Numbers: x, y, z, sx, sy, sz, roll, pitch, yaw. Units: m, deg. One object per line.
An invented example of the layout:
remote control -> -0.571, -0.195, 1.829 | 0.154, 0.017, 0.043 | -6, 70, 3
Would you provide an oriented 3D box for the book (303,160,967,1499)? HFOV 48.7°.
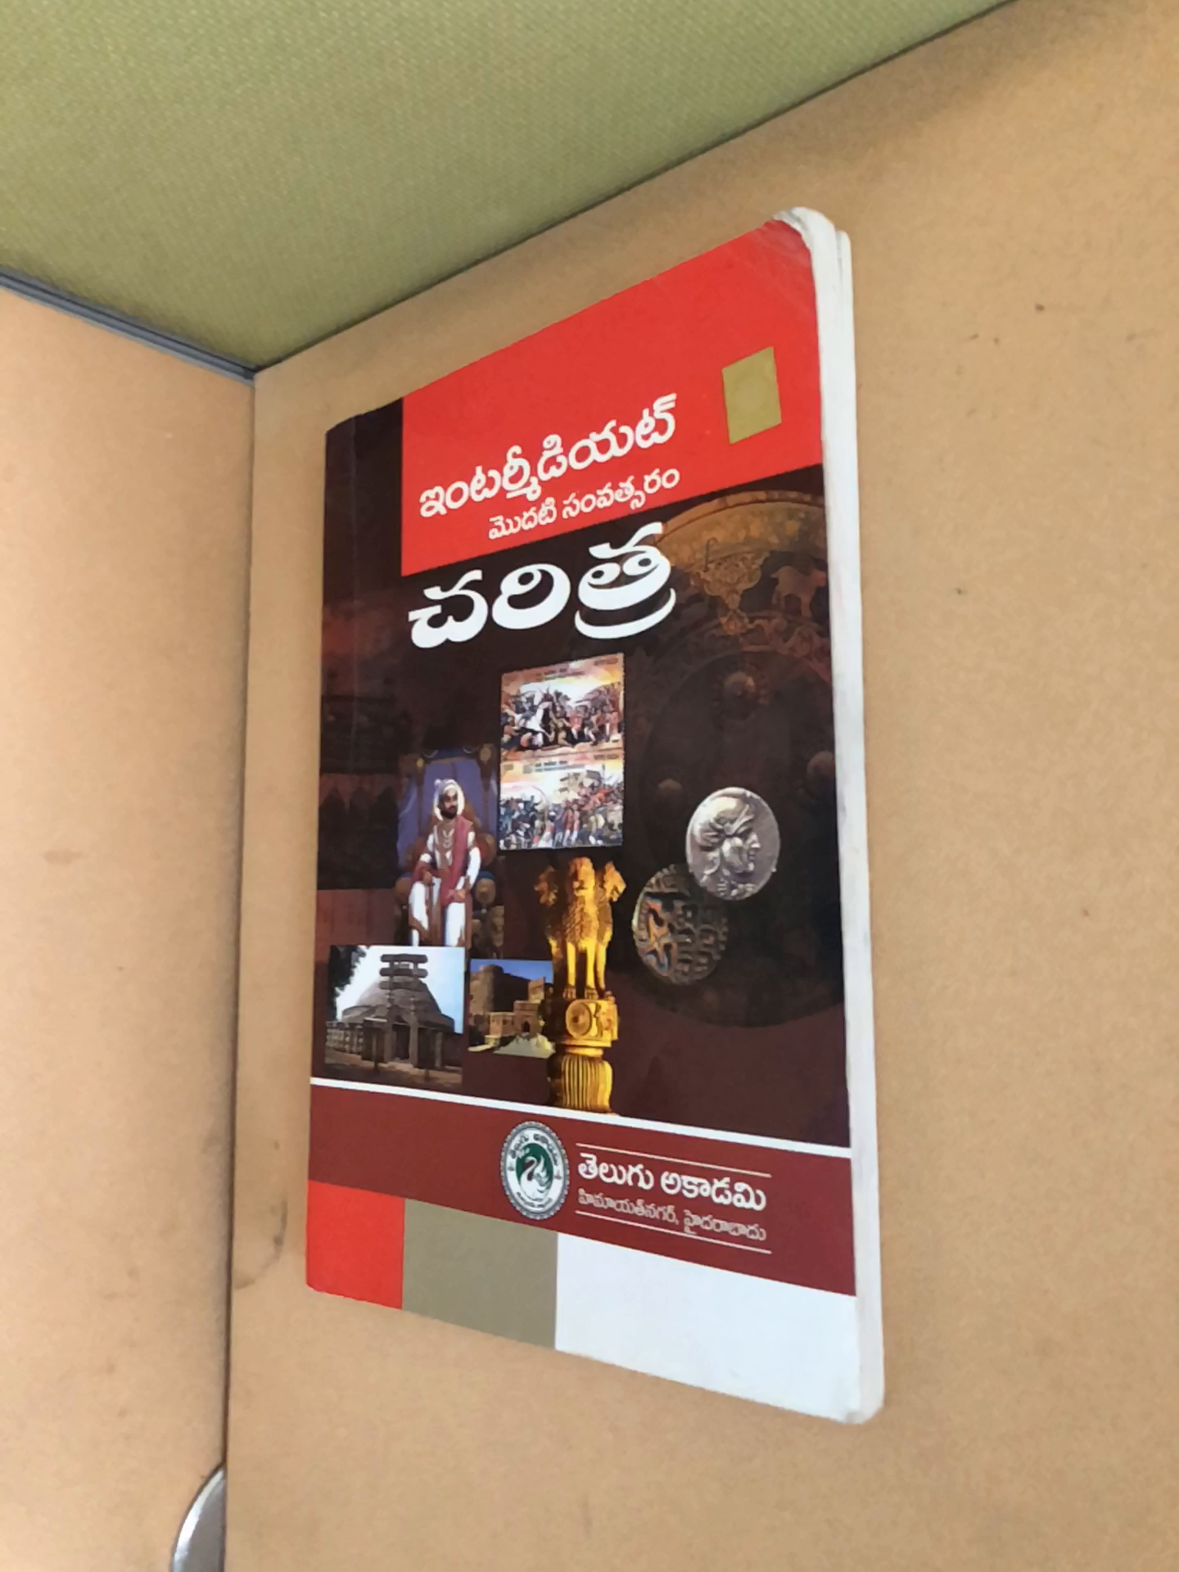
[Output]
book -> -0.003, 0.010, 0.359 | 0.201, 0.030, 0.290 | -7, 79, 42
